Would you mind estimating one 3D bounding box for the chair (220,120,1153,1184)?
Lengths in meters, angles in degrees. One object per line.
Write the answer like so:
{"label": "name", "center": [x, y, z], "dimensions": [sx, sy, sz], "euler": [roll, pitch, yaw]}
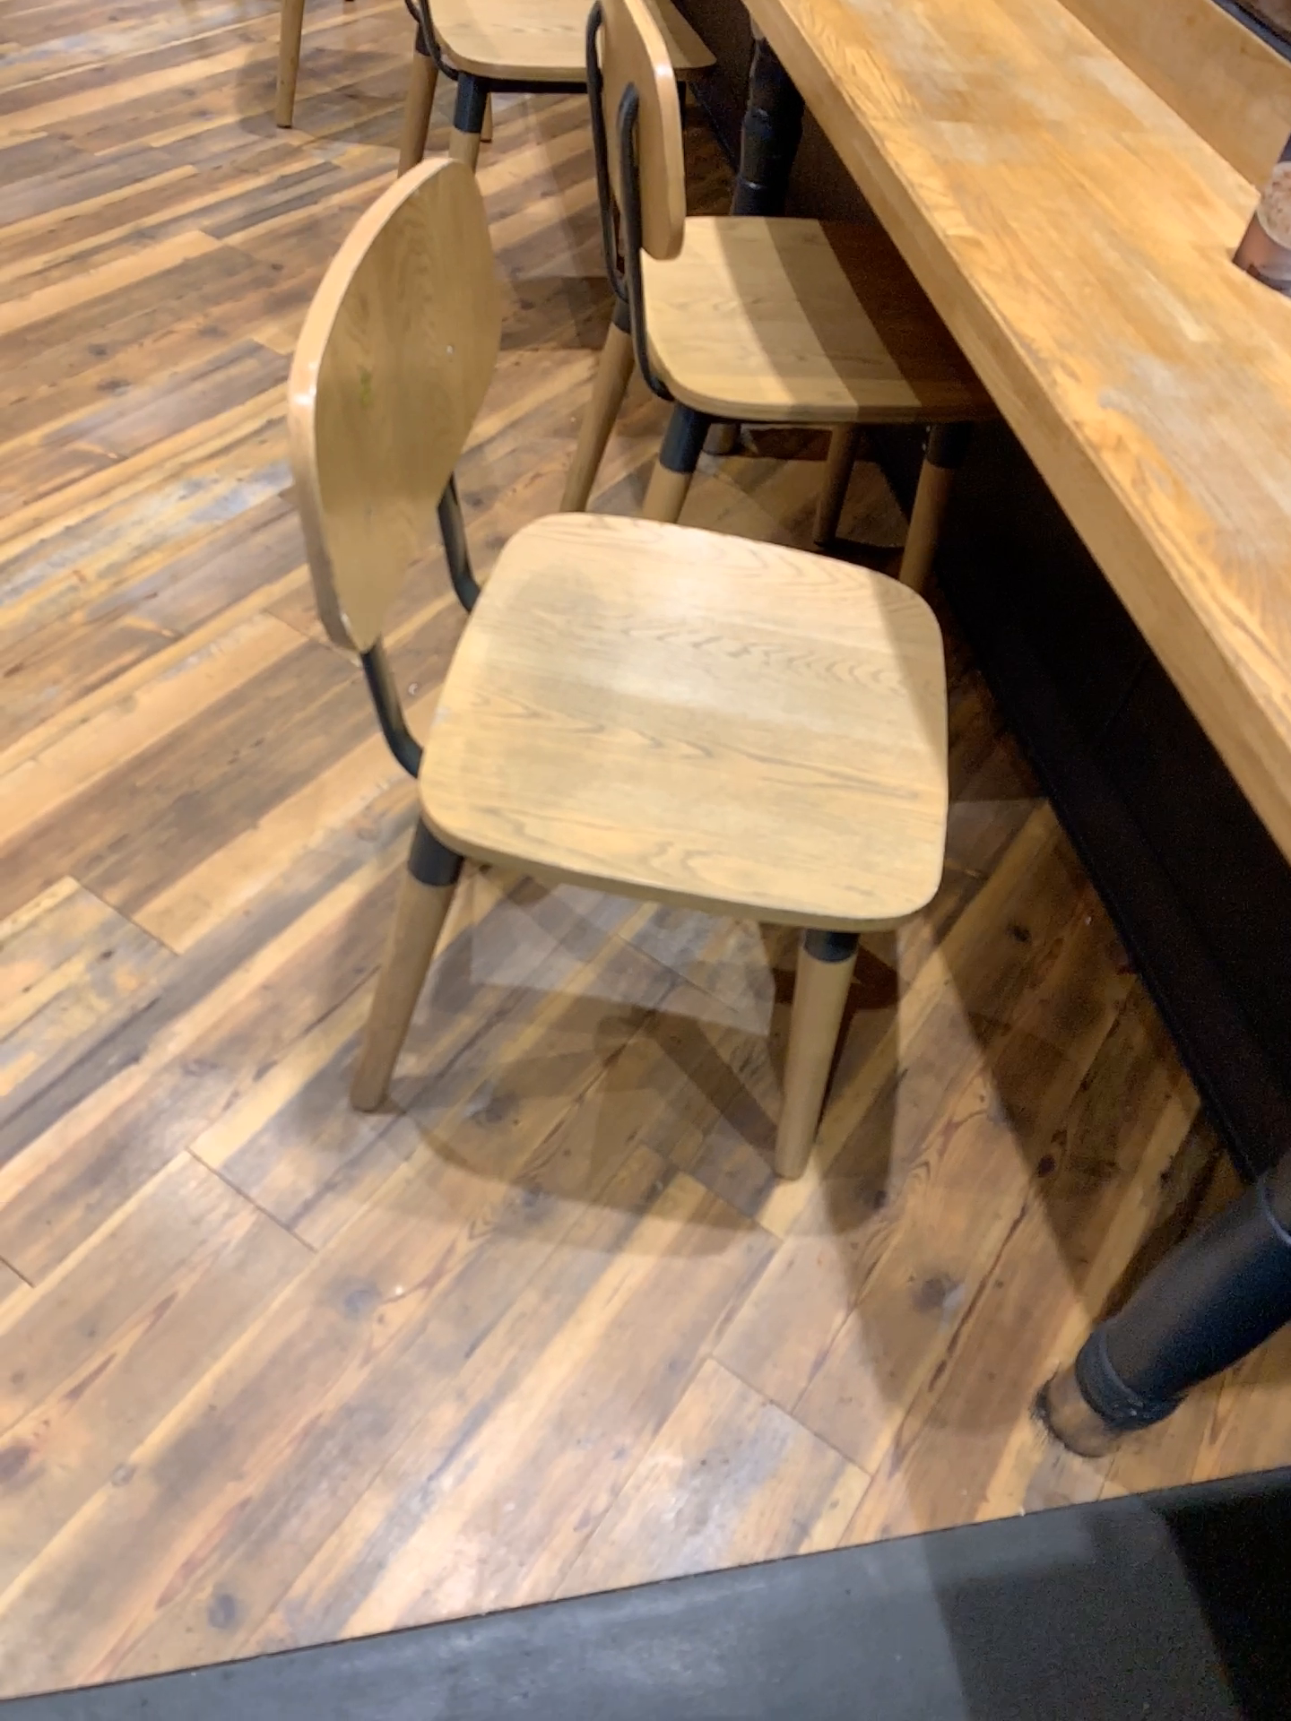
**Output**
{"label": "chair", "center": [0.015, -0.130, 1.076], "dimensions": [0.500, 0.684, 0.414], "euler": [11, 47, 2]}
